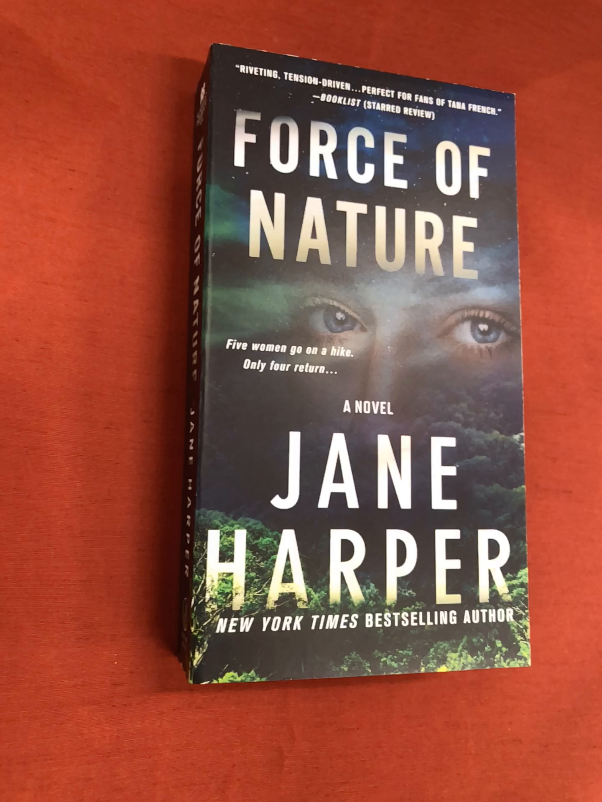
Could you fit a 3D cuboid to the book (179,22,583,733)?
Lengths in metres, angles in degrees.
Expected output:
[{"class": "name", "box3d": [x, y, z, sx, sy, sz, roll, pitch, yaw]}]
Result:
[{"class": "book", "box3d": [0.022, -0.005, 0.208, 0.110, 0.050, 0.180, 1, 89, -14]}]
